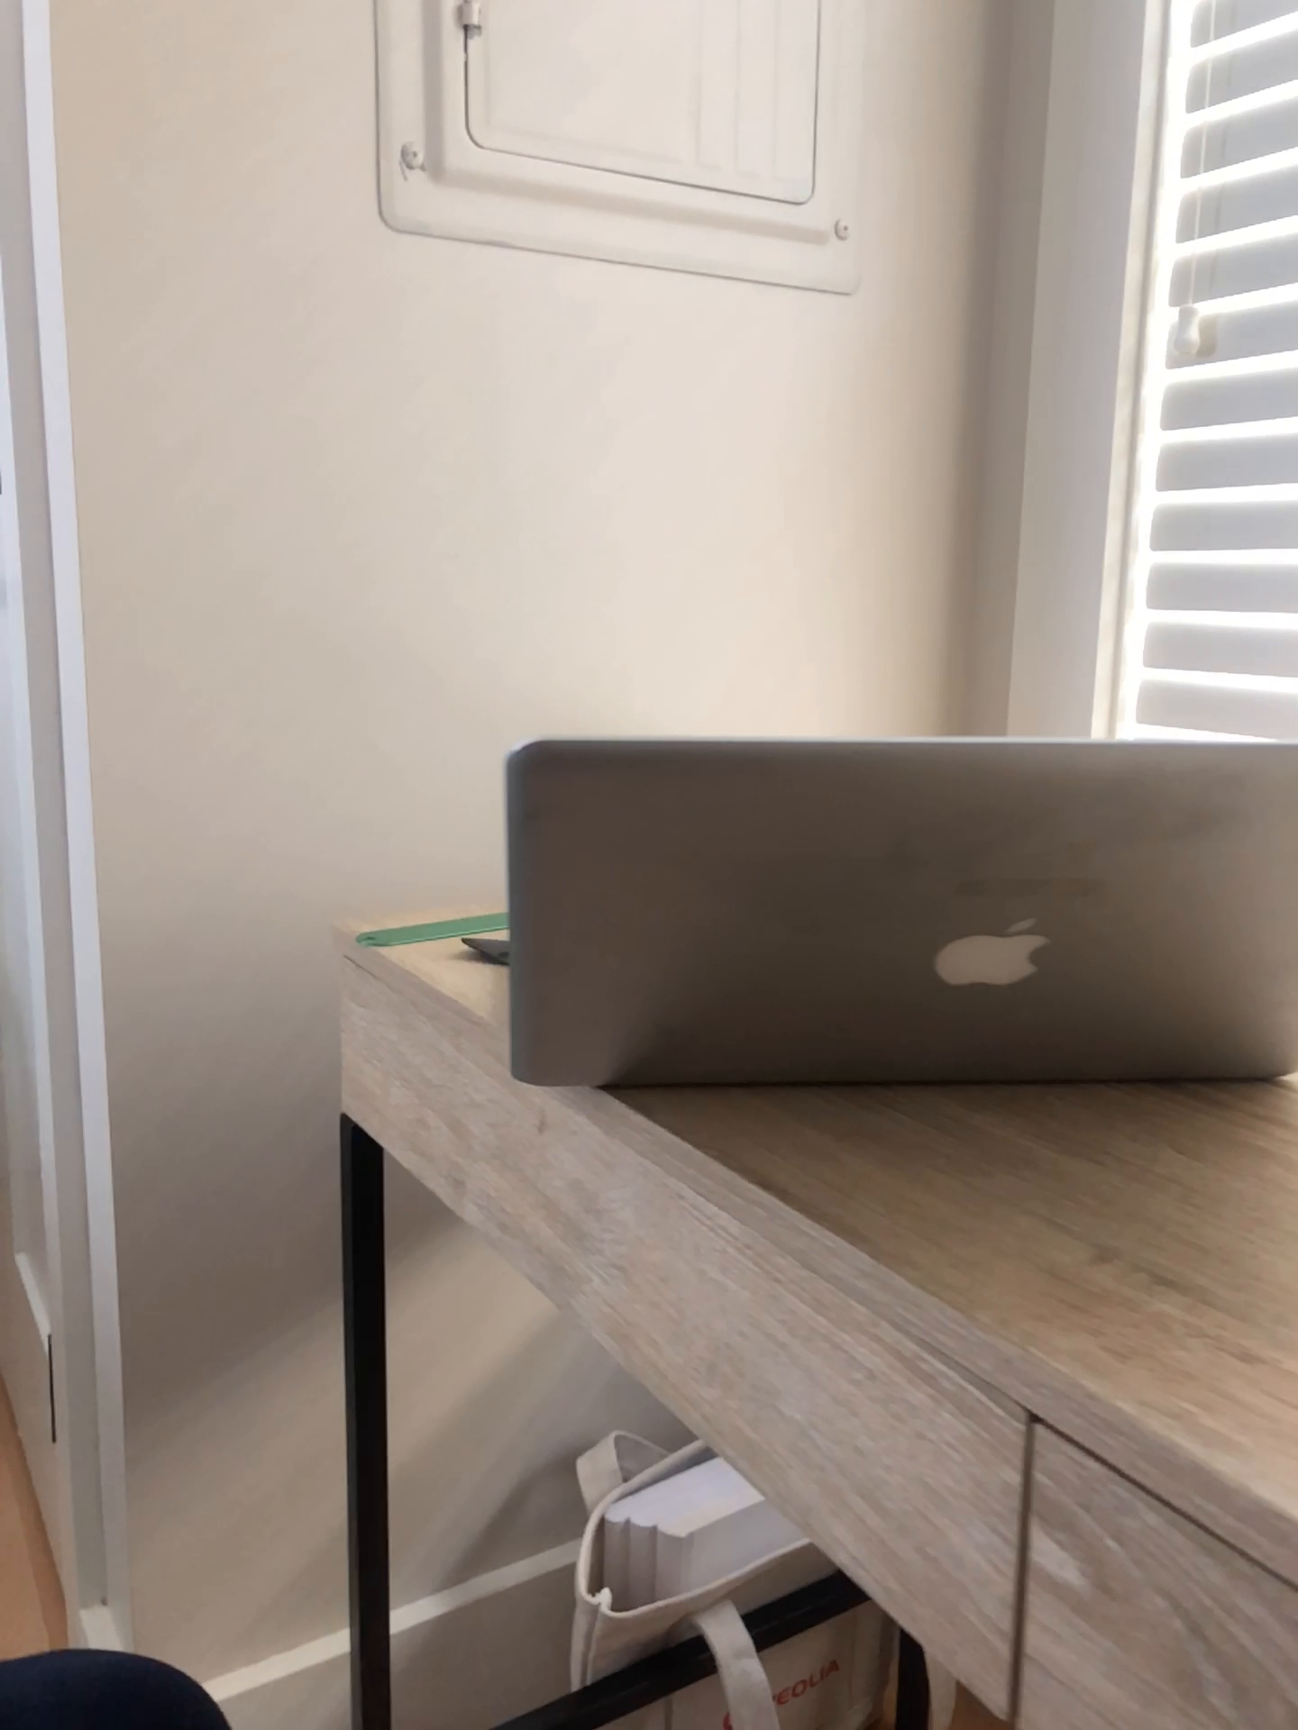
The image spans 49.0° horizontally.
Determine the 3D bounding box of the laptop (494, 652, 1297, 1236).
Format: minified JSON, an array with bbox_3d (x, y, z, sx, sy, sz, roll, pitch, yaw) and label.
[{"bbox_3d":[0.100,-0.001,0.569,0.319,0.133,0.346,0,13,-5],"label":"laptop"}]
